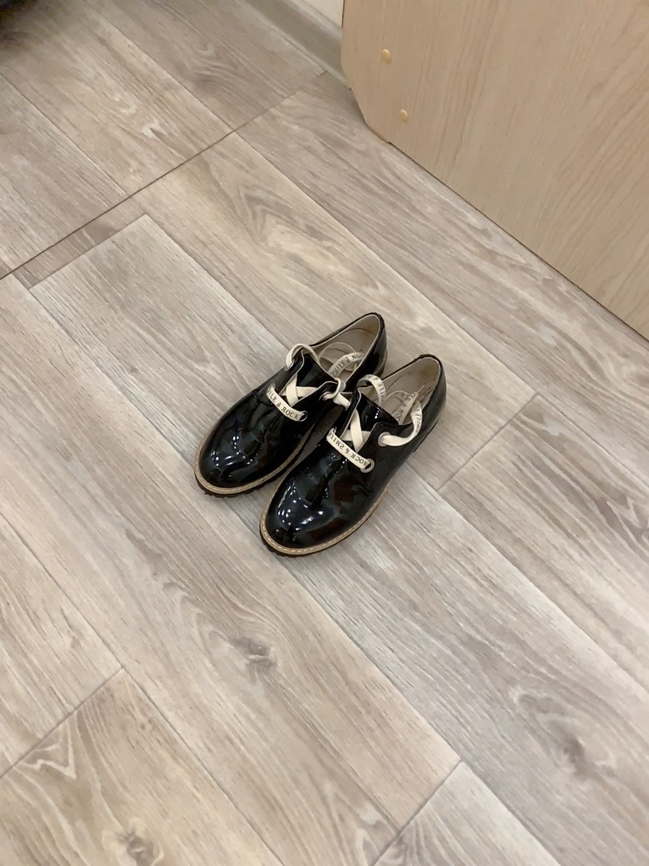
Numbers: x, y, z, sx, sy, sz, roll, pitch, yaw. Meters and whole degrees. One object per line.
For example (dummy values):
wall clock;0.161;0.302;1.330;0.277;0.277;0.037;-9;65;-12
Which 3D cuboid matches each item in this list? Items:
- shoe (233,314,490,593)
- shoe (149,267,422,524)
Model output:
shoe;0.039;0.019;0.686;0.100;0.100;0.270;39;70;13
shoe;-0.035;-0.041;0.704;0.270;0.100;0.100;-40;74;-17
